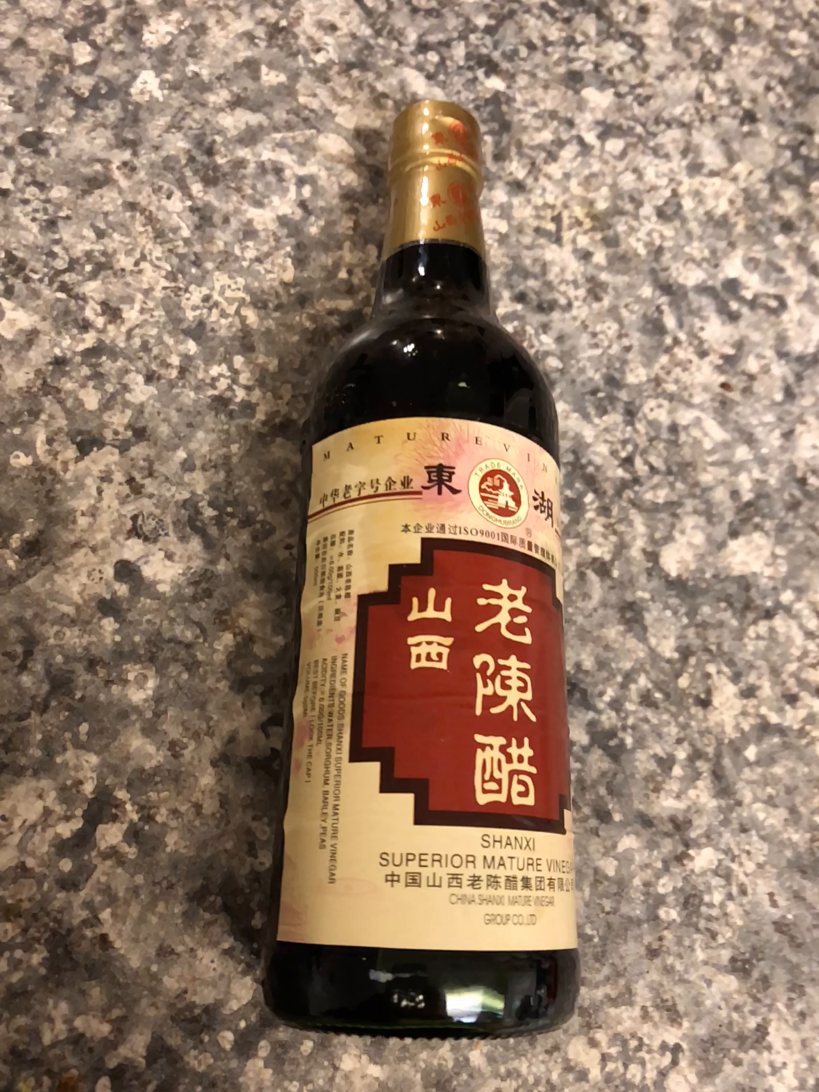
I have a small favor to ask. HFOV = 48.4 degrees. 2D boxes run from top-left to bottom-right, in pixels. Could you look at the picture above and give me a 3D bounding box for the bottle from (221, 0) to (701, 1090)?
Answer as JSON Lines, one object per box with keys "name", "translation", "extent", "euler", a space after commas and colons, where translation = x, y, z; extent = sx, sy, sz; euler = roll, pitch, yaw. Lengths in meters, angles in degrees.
{"name": "bottle", "translation": [0.008, -0.017, 0.216], "extent": [0.070, 0.070, 0.241], "euler": [9, 67, -15]}
